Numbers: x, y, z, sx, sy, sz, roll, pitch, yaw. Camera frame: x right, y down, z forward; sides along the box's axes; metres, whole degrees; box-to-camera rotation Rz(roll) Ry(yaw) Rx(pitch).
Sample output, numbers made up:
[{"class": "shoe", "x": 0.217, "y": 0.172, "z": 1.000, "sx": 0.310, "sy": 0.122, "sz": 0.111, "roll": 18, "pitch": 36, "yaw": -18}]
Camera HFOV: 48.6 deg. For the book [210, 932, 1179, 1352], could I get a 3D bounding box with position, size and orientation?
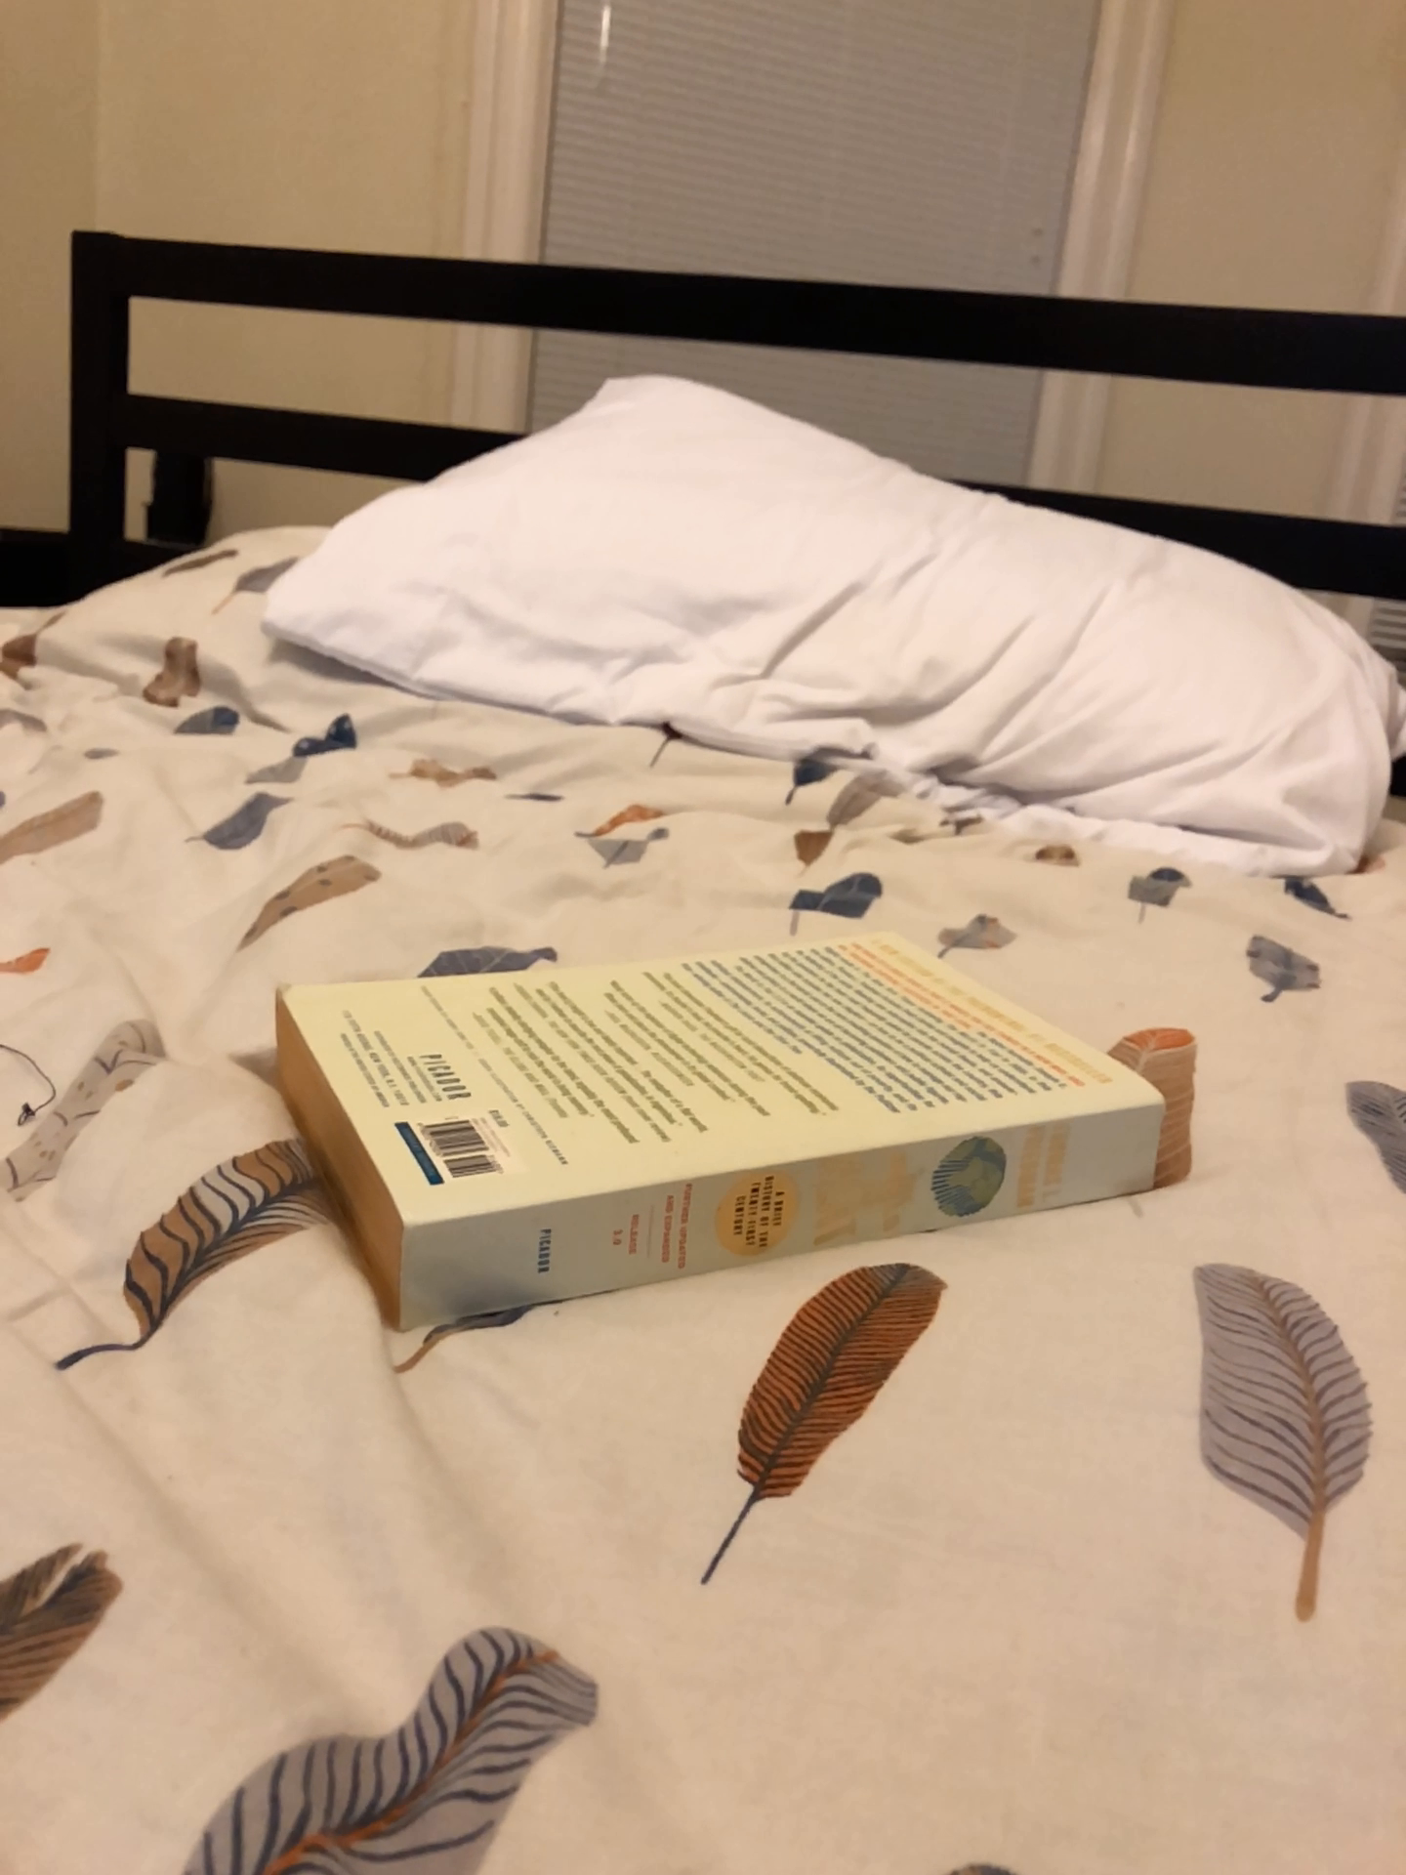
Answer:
[{"class": "book", "x": -0.007, "y": 0.041, "z": 0.429, "sx": 0.220, "sy": 0.040, "sz": 0.150, "roll": -4, "pitch": 15, "yaw": -29}]
